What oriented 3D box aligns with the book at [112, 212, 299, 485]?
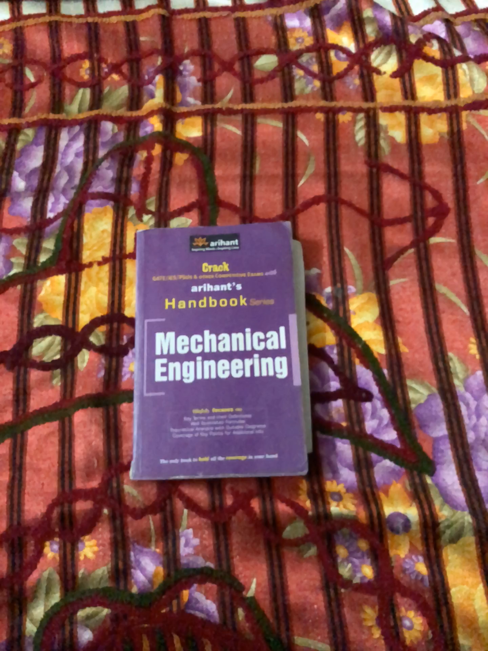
[{"bbox_3d":[-0.035,0.016,0.484,0.147,0.040,0.231,-3,72,1],"label":"book"}]
